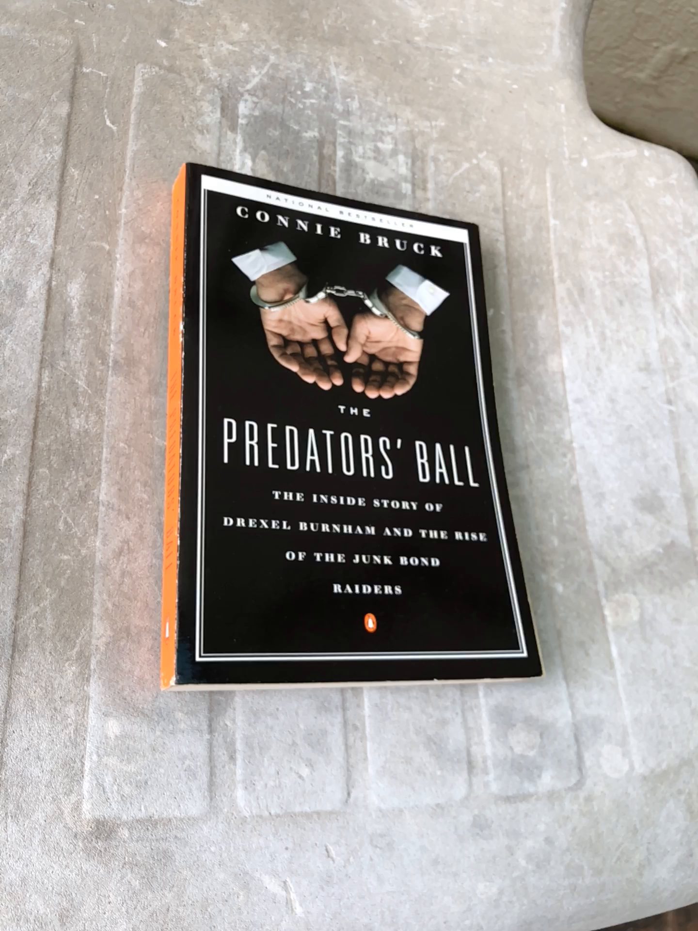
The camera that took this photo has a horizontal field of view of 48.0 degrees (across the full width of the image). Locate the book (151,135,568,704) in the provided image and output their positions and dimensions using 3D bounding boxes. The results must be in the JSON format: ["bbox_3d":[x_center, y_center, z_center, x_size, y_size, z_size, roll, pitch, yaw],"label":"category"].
[{"bbox_3d":[0.001,-0.020,0.304,0.140,0.030,0.210,5,67,-20],"label":"book"}]
